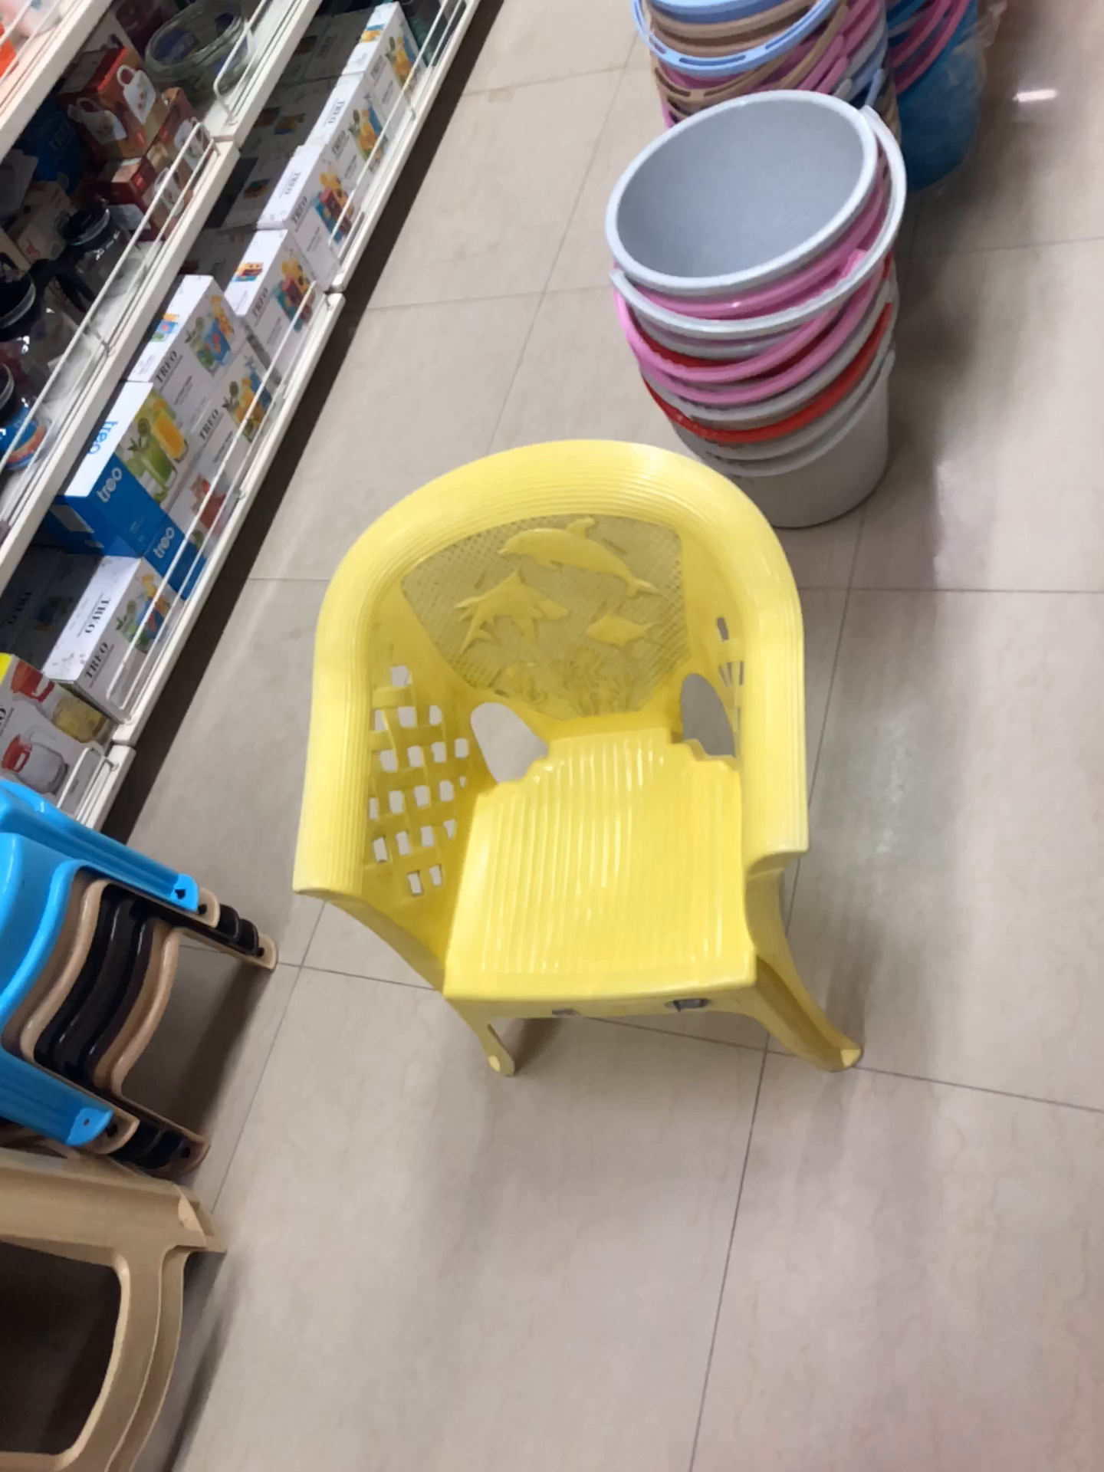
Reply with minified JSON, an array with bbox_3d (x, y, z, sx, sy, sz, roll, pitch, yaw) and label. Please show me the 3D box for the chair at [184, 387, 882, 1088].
[{"bbox_3d":[0.027,0.037,1.112,0.471,0.398,0.472,-6,58,20],"label":"chair"}]
